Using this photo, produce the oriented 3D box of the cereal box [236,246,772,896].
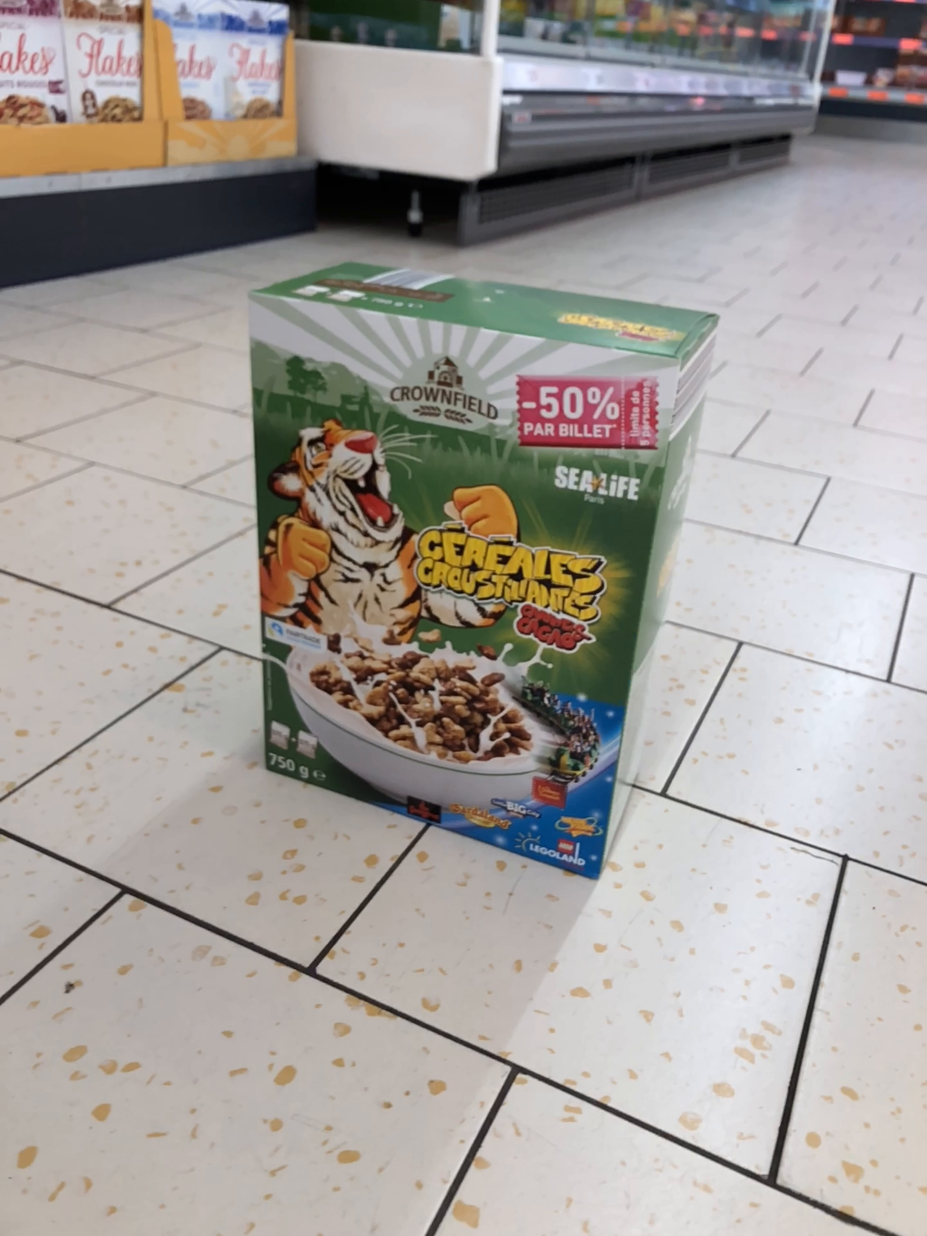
[{"bbox_3d":[0.013,-0.029,0.508,0.210,0.258,0.111,14,29,17],"label":"cereal box"}]
